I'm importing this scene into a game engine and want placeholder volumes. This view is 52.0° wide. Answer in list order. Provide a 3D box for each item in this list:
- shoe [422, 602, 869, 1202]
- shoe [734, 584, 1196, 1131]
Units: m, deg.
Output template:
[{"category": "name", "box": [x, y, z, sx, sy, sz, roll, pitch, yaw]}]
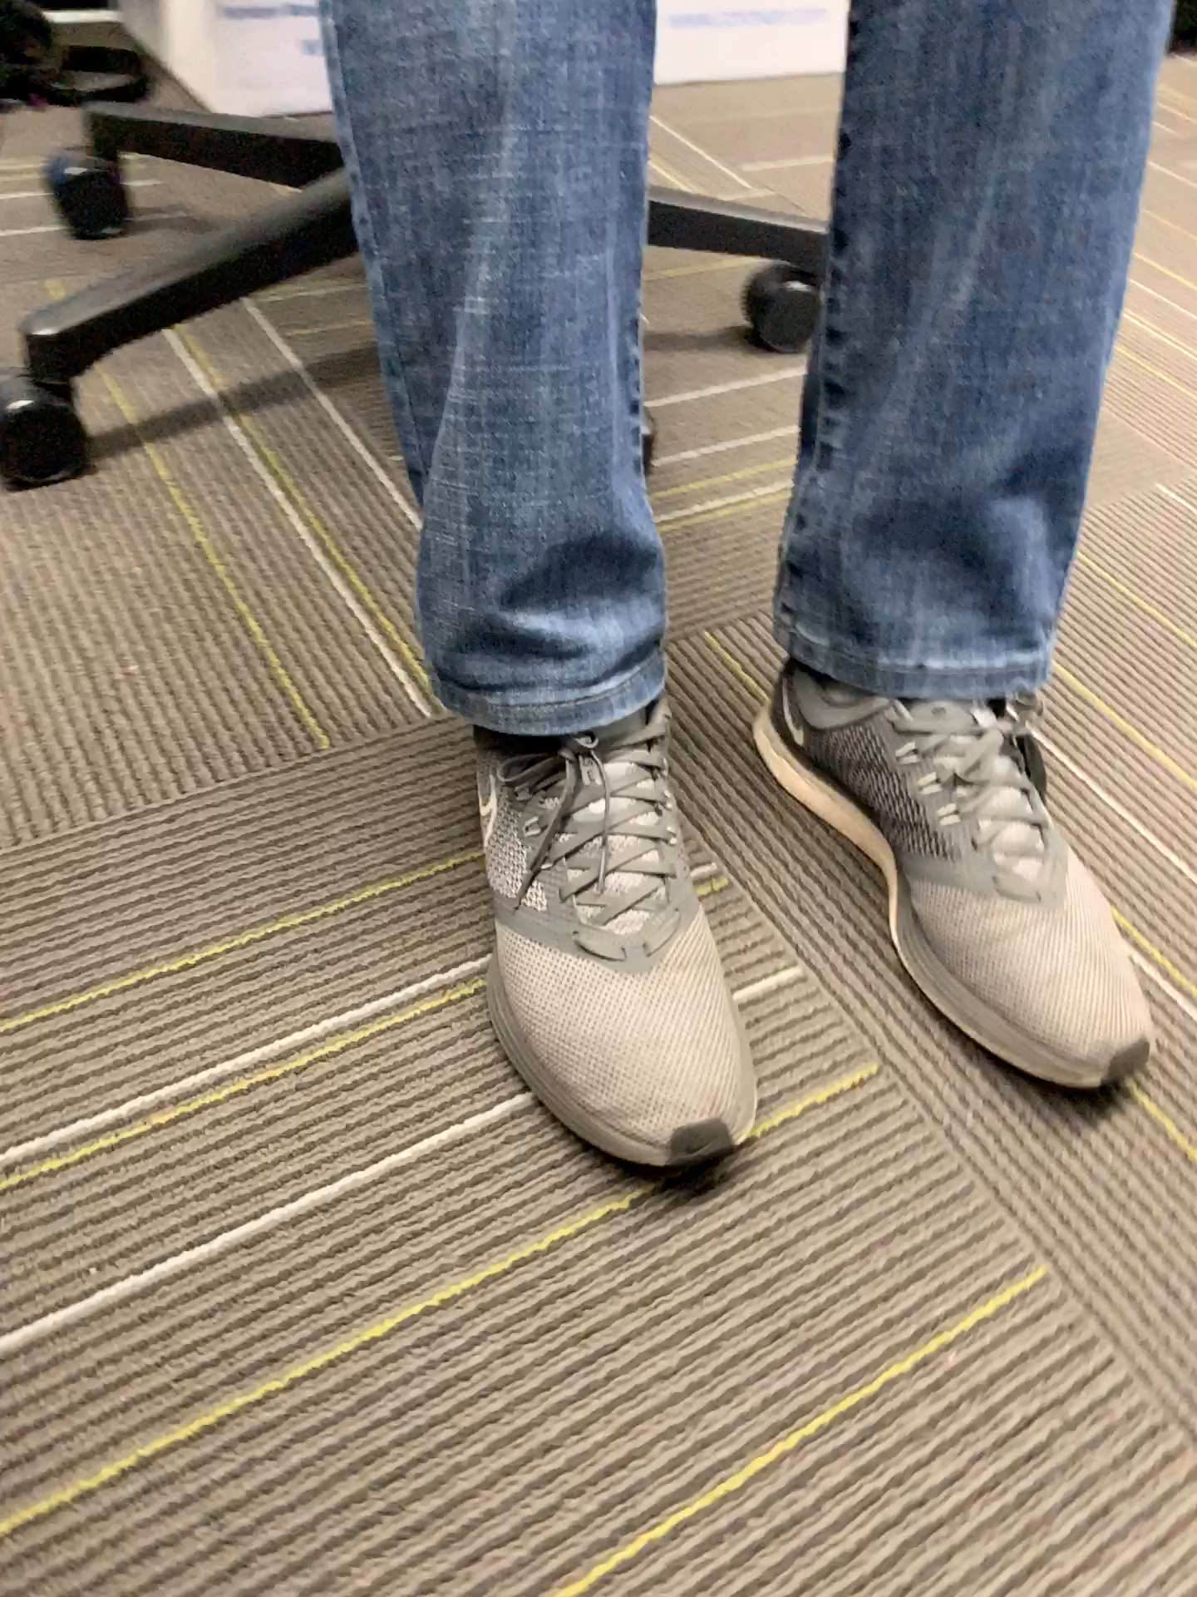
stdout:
[{"category": "shoe", "box": [0.003, 0.030, 0.586, 0.132, 0.078, 0.285, -6, 48, -14]}, {"category": "shoe", "box": [0.197, 0.013, 0.645, 0.124, 0.078, 0.287, -13, 50, -20]}]
